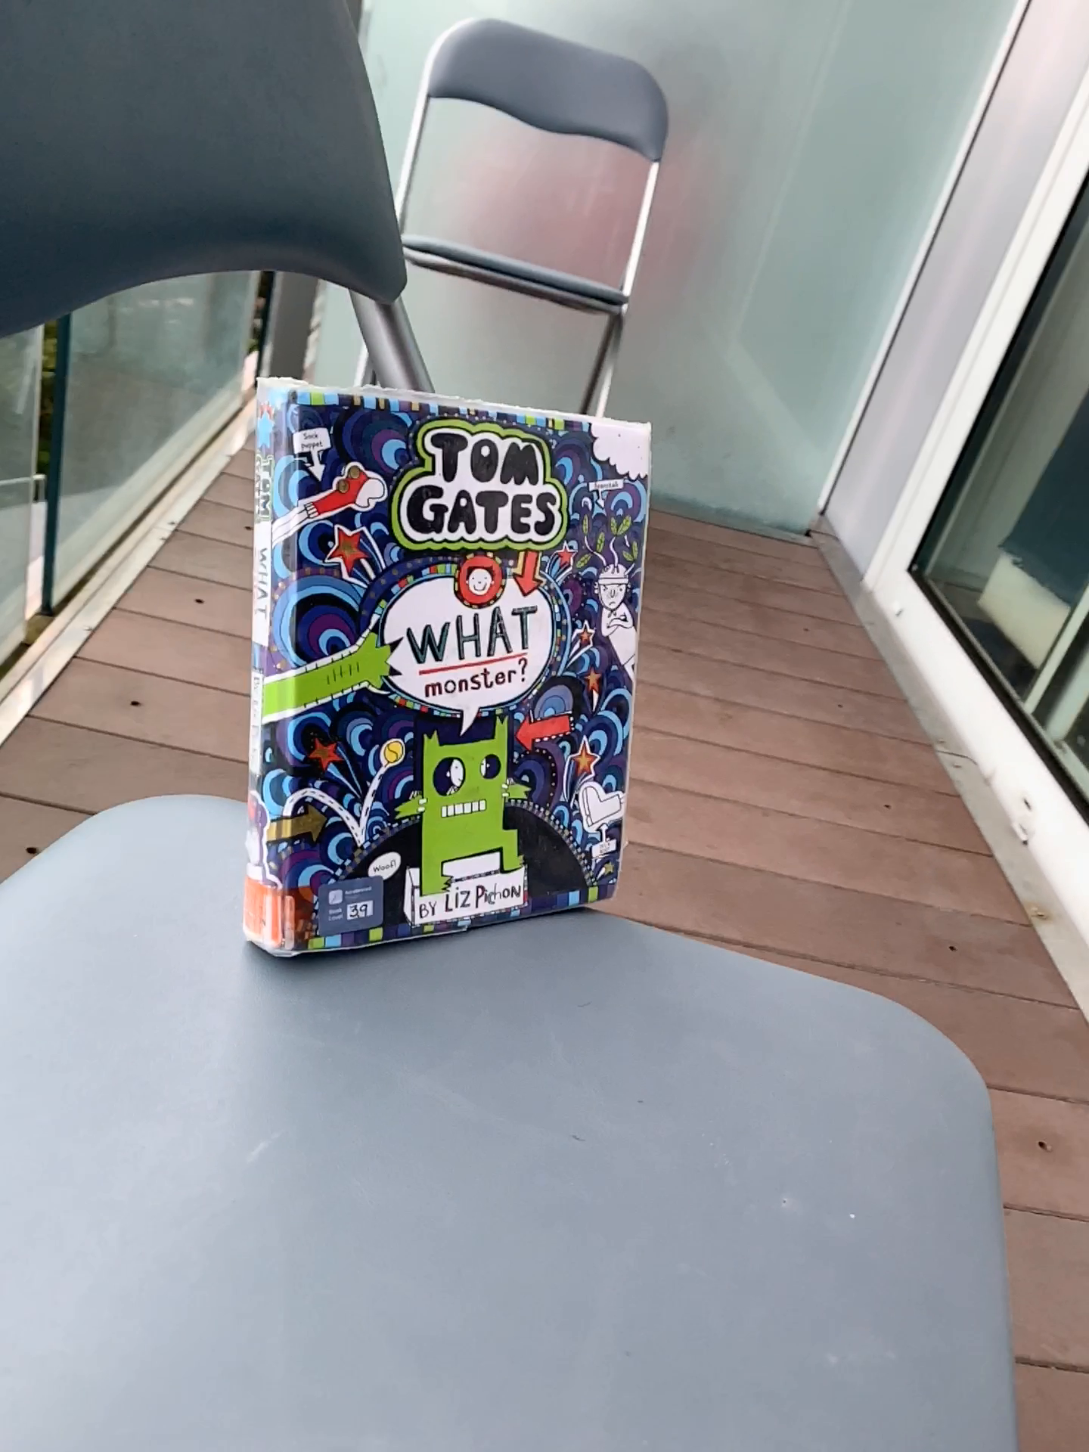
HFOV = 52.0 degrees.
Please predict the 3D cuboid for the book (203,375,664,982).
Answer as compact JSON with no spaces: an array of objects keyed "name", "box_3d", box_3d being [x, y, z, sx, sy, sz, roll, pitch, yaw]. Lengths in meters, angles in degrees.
[{"name":"book","box_3d":[-0.041,-0.021,0.425,0.161,0.199,0.050,-4,15,-34]}]
